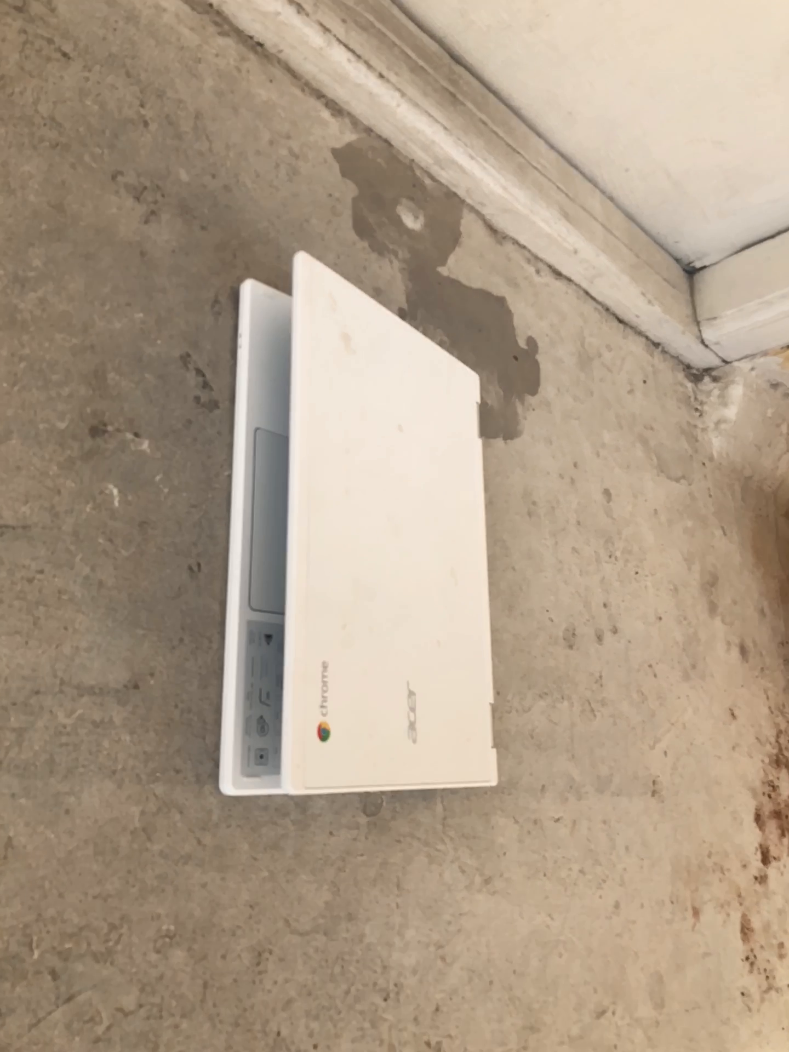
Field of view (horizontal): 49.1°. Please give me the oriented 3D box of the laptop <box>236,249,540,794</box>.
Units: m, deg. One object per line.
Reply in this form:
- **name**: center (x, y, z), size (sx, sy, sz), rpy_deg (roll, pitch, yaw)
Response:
- **laptop**: center (0.004, 0.008, 0.505), size (0.191, 0.046, 0.278), rpy_deg (16, 67, -44)
